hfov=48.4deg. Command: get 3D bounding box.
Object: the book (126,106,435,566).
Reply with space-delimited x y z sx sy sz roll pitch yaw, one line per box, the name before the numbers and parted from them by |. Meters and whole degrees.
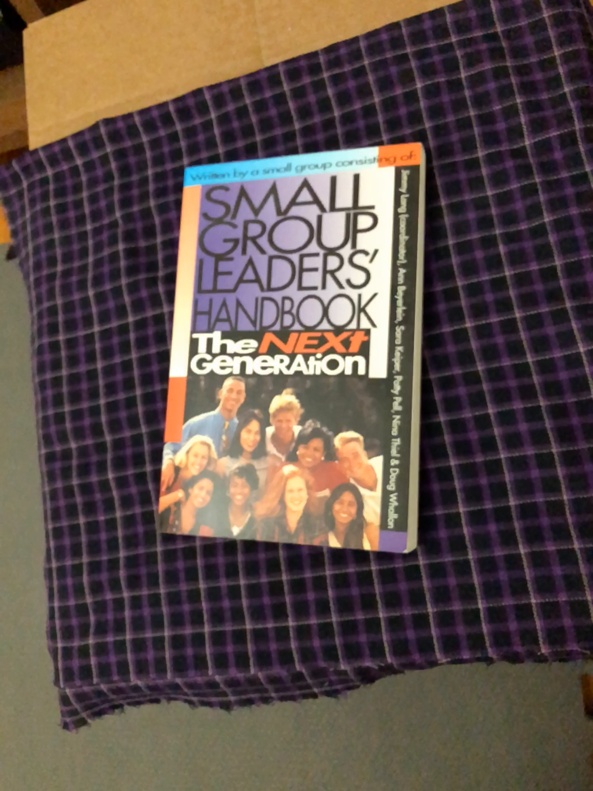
book | -0.007 -0.031 0.347 0.150 0.030 0.220 0 82 19
